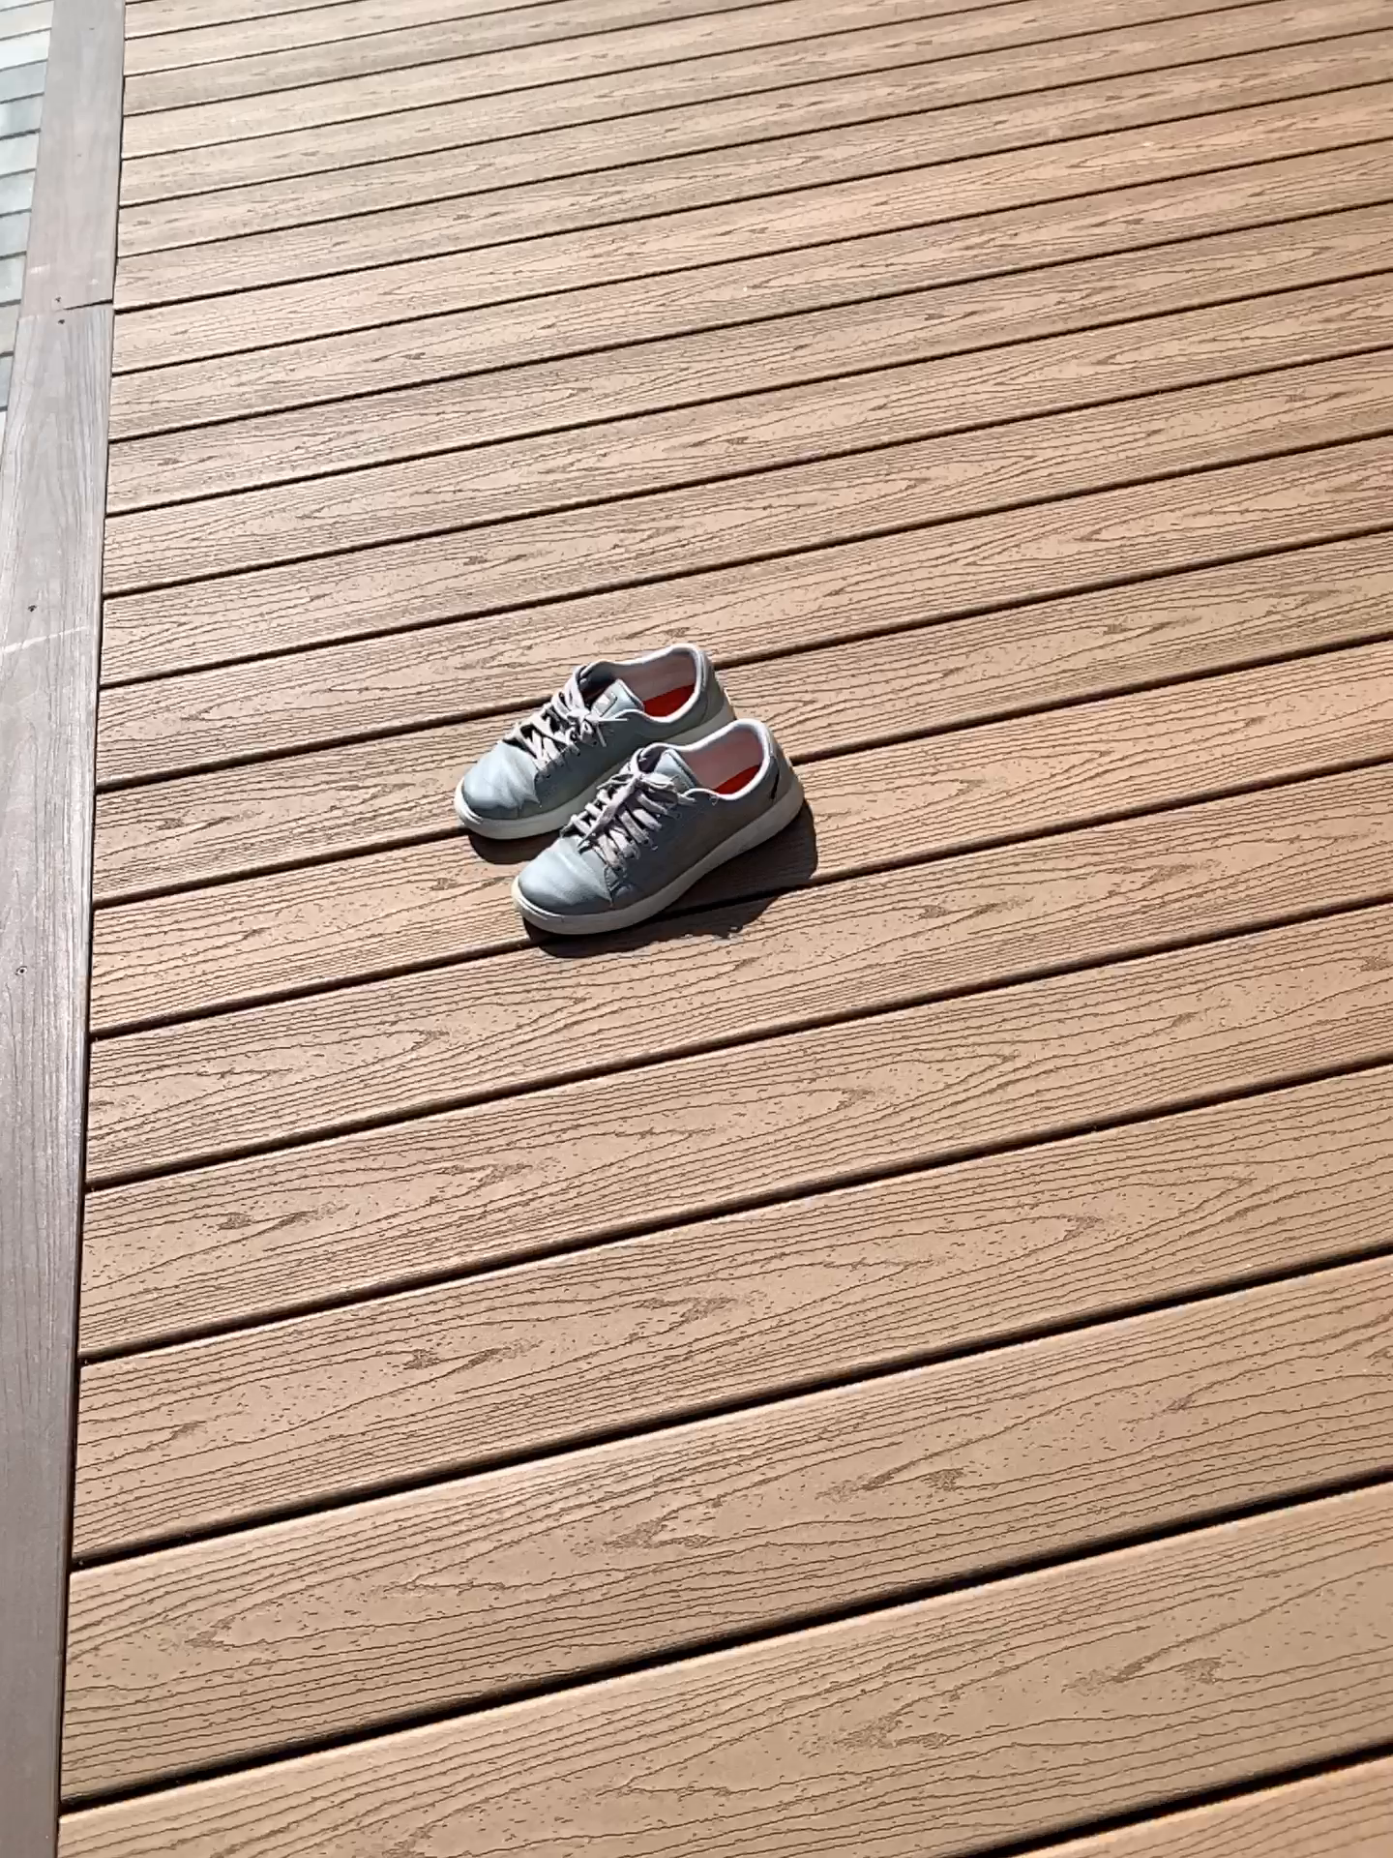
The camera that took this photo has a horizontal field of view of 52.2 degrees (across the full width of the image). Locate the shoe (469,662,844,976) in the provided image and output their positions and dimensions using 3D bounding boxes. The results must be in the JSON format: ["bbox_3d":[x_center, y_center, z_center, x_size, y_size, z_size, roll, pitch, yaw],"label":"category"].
[{"bbox_3d":[-0.029,-0.097,1.211,0.290,0.100,0.120,-29,57,-15],"label":"shoe"}]

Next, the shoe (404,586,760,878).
[{"bbox_3d":[-0.096,-0.177,1.257,0.280,0.100,0.120,-28,57,-15],"label":"shoe"}]
